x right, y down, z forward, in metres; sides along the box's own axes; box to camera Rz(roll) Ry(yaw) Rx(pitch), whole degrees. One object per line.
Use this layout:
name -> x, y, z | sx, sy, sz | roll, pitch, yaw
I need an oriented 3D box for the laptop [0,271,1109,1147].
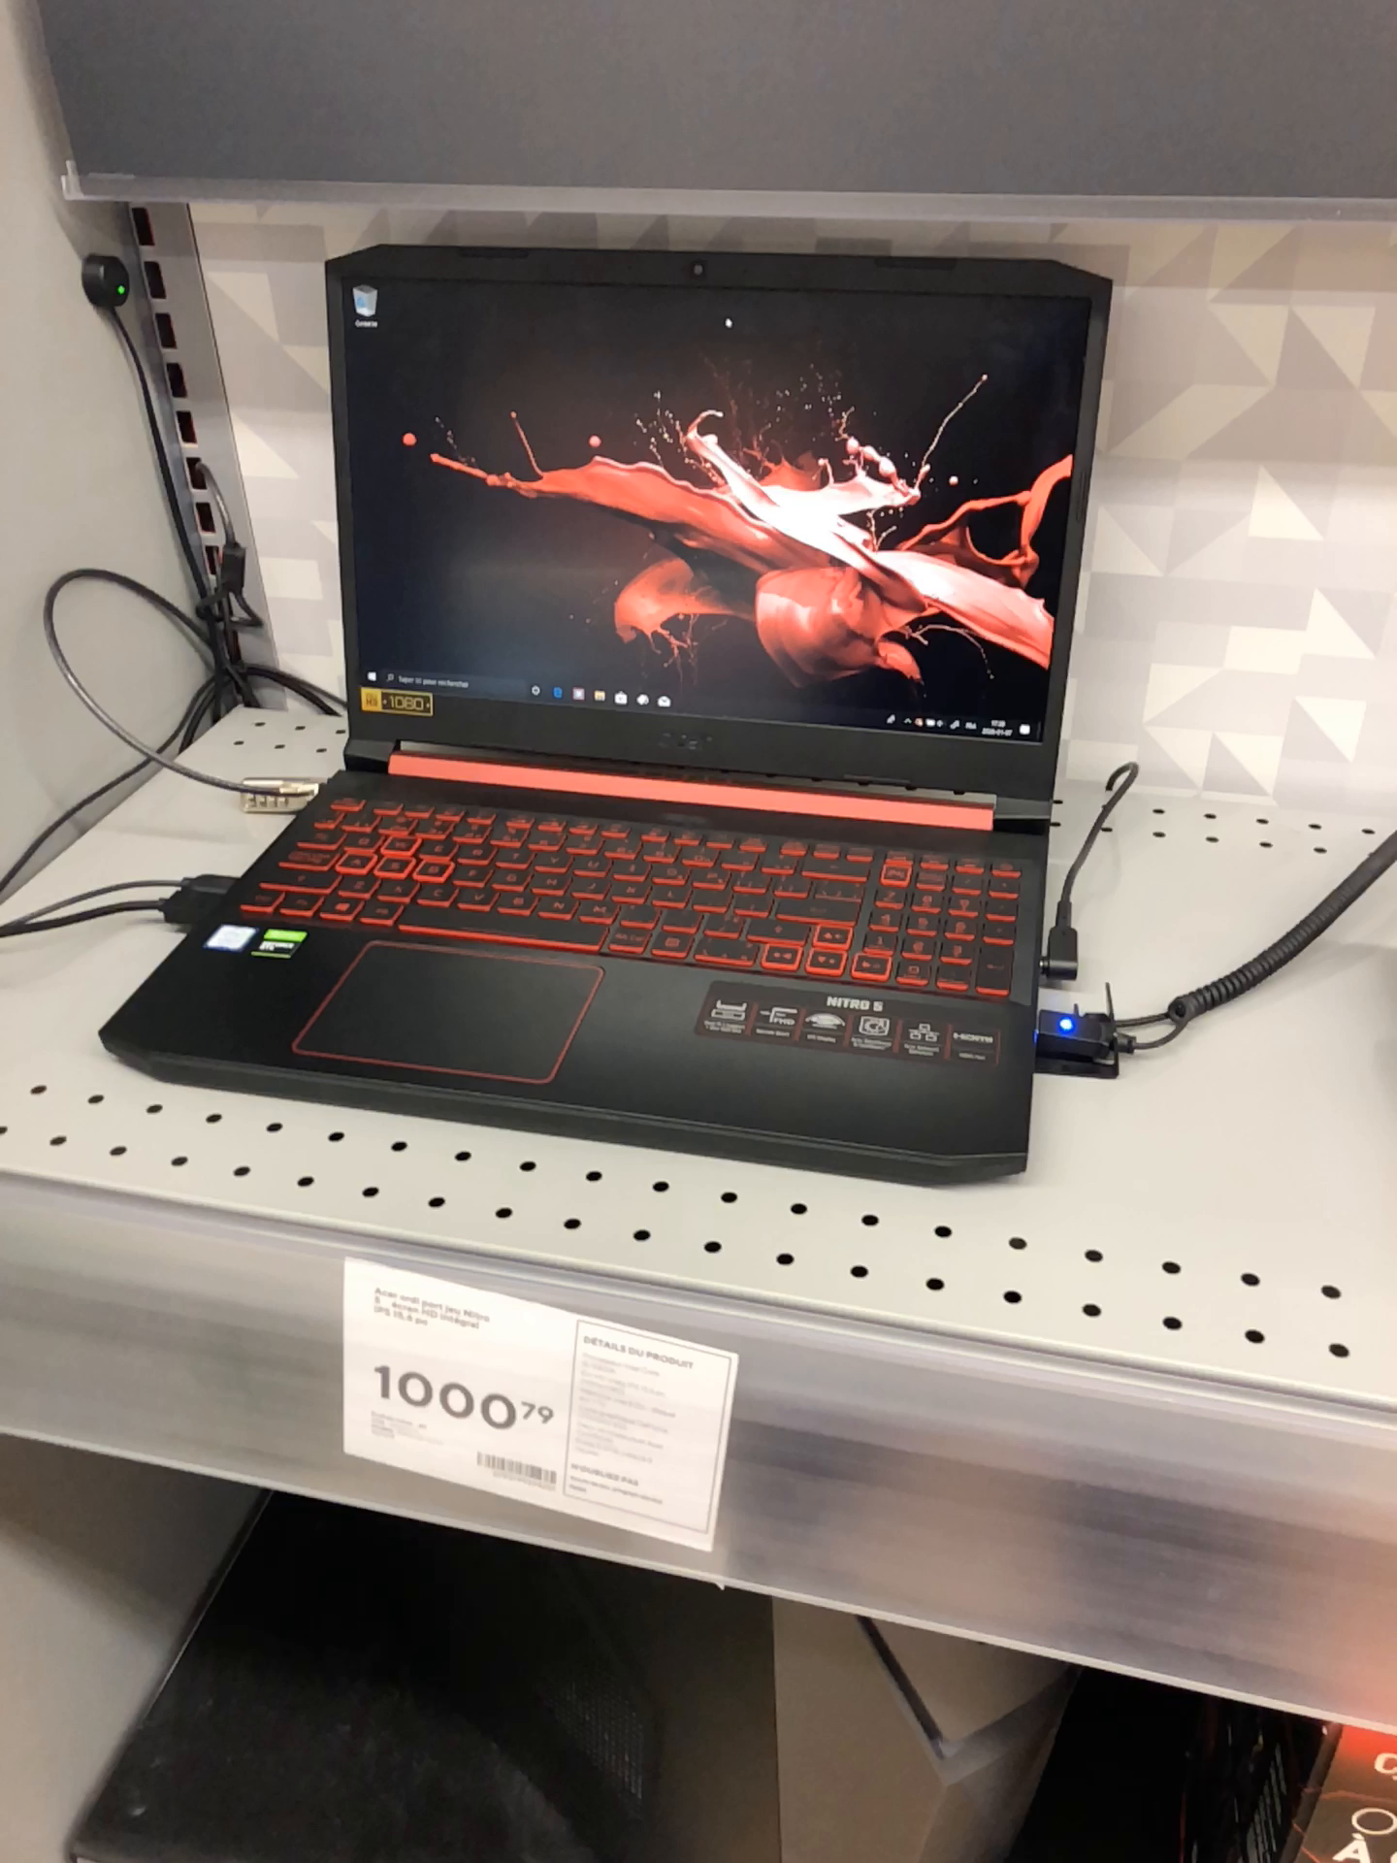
laptop -> -0.029, -0.115, 0.641 | 0.361, 0.241, 0.282 | 6, 34, 10
